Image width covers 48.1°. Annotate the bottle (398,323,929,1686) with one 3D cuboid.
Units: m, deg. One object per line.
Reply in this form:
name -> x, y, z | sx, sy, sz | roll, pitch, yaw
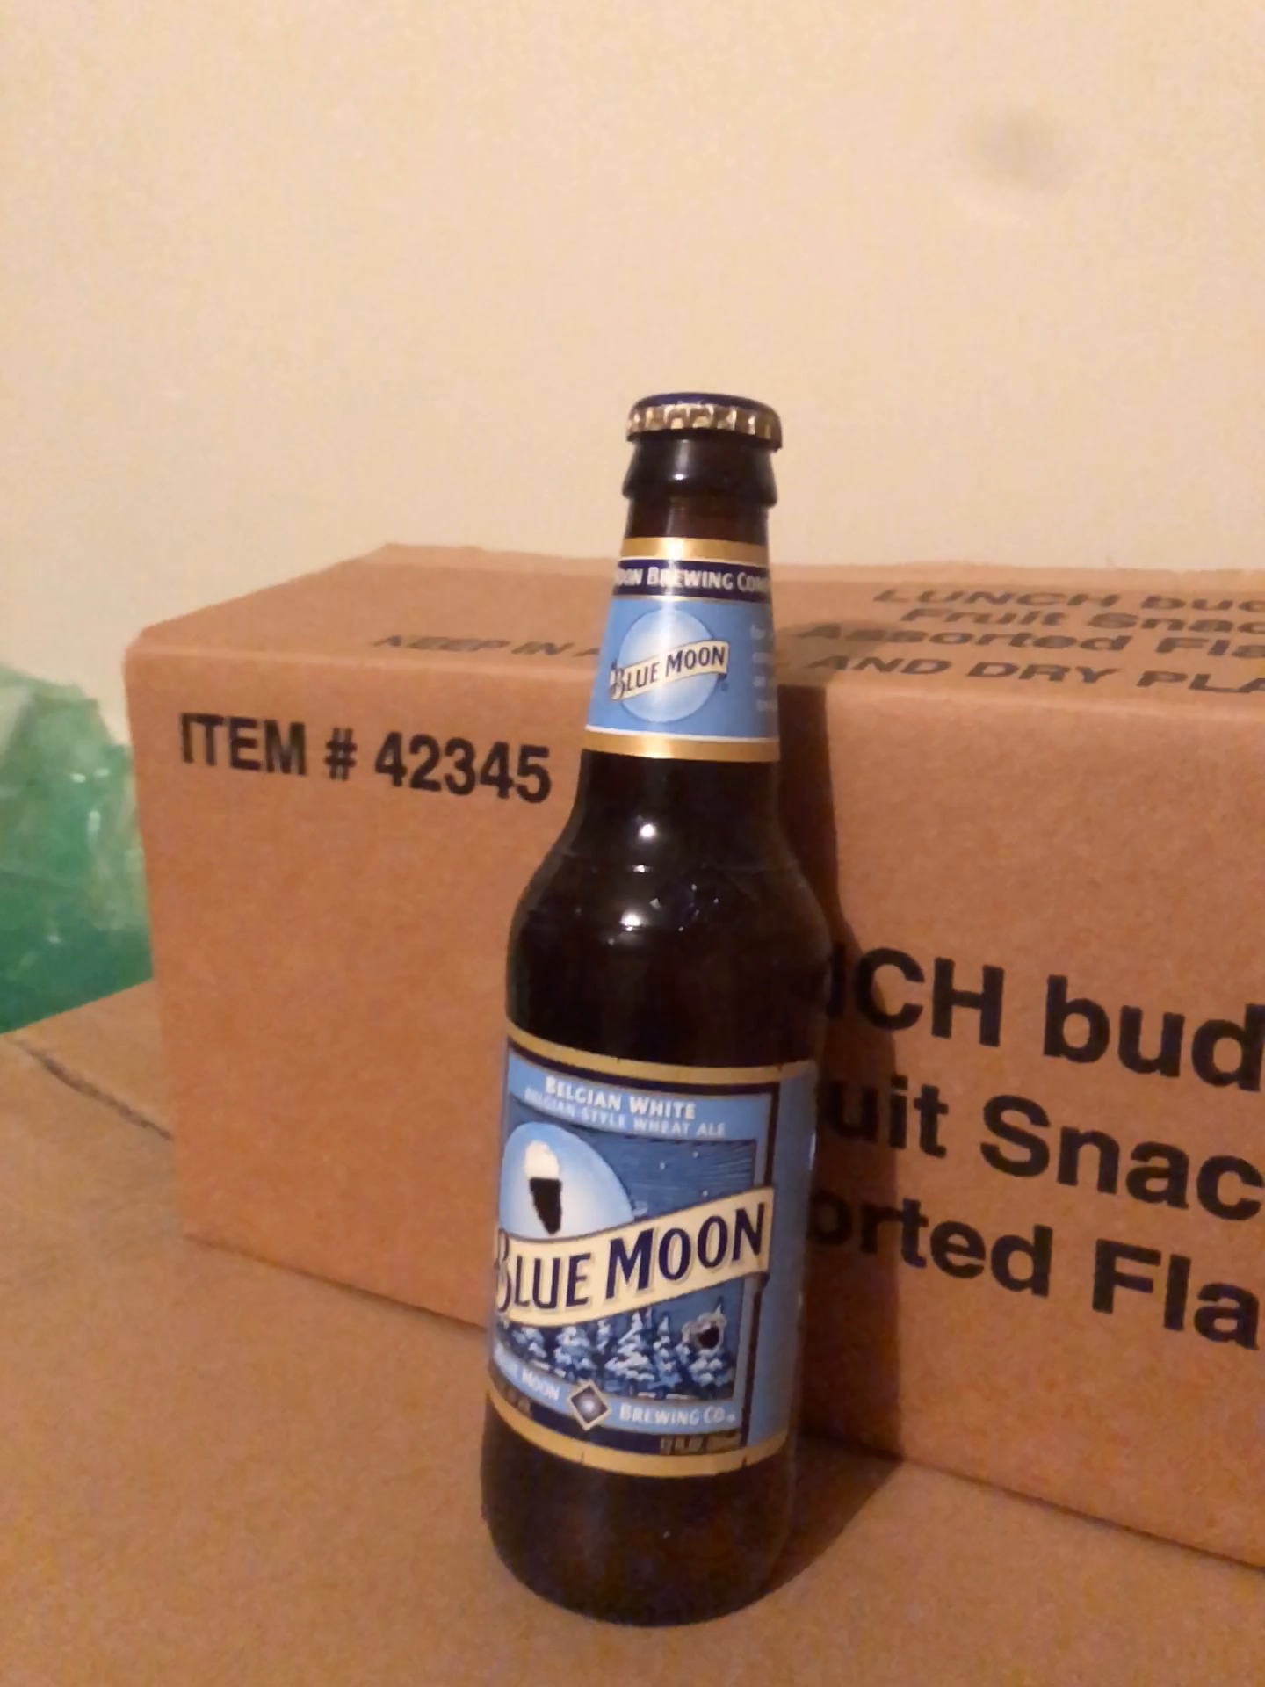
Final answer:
bottle -> 0.006, 0.026, 0.249 | 0.070, 0.210, 0.060 | 5, 10, 23
